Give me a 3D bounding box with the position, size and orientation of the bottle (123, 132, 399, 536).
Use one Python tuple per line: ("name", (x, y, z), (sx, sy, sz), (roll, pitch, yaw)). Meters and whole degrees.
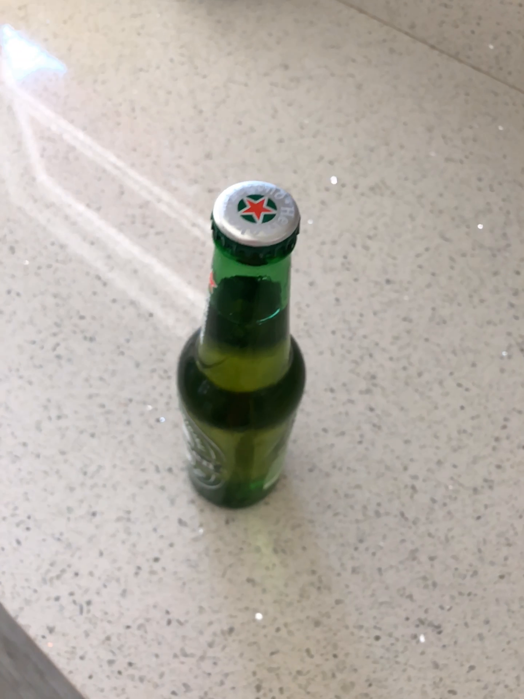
("bottle", (-0.009, 0.015, 0.268), (0.070, 0.210, 0.070), (2, 58, -3))
